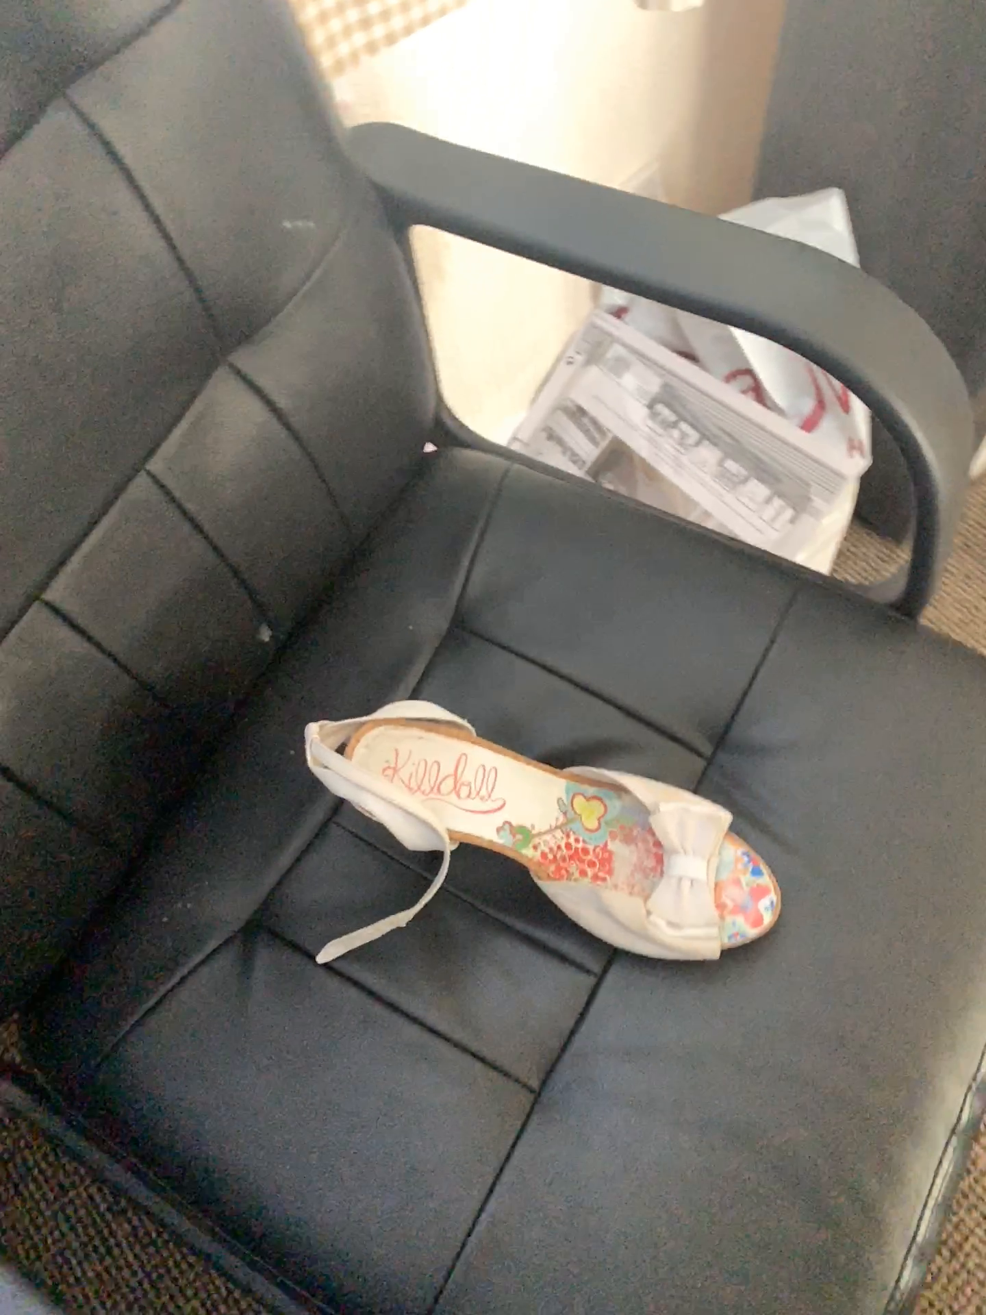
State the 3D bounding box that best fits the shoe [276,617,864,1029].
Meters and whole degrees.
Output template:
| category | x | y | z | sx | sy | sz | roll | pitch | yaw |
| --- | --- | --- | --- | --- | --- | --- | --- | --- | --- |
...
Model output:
| category | x | y | z | sx | sy | sz | roll | pitch | yaw |
| --- | --- | --- | --- | --- | --- | --- | --- | --- | --- |
| shoe | 0.040 | 0.095 | 0.525 | 0.240 | 0.189 | 0.101 | 14 | 65 | 12 |
